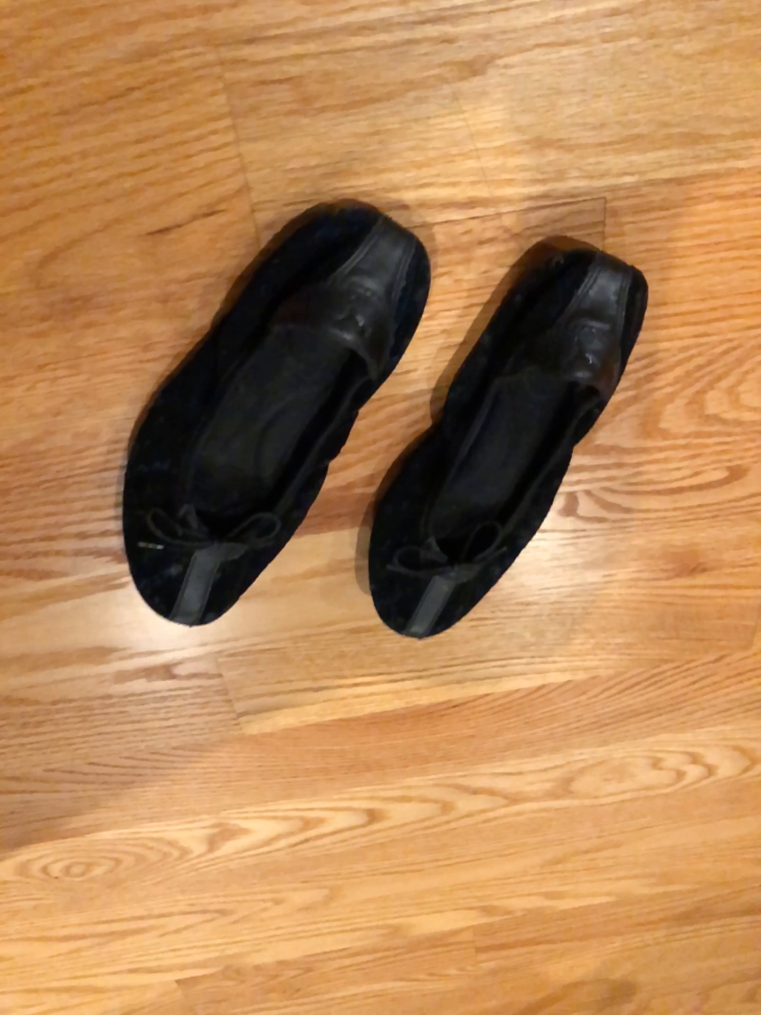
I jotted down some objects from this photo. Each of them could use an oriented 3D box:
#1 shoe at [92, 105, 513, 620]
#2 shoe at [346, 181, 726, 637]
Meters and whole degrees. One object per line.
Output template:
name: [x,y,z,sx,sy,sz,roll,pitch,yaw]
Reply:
shoe: [-0.047,-0.051,0.392,0.100,0.050,0.221,21,122,-22]
shoe: [0.064,-0.034,0.421,0.093,0.046,0.221,12,125,-17]
